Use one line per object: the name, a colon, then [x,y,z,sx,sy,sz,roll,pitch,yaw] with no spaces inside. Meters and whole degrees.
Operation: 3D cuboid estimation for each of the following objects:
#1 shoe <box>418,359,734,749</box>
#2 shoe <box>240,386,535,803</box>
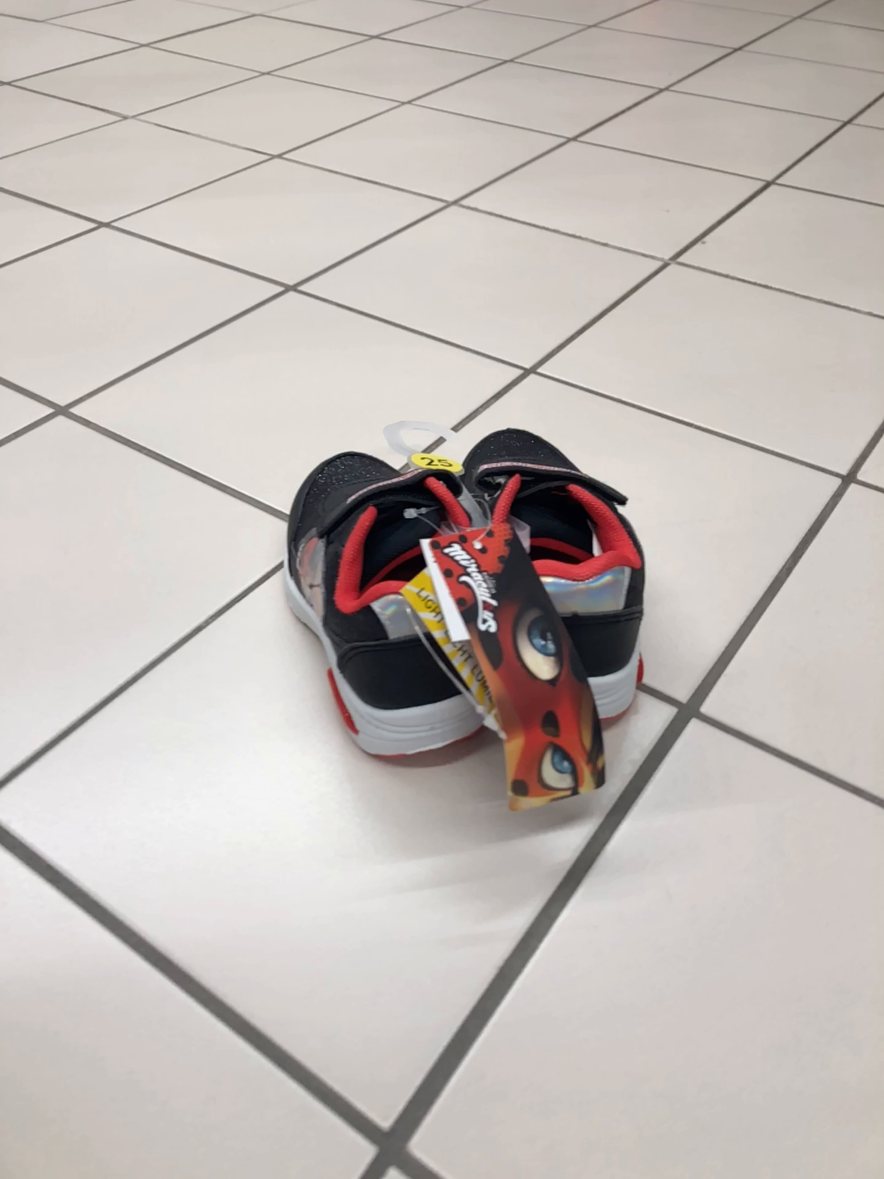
shoe: [0.046,-0.024,0.420,0.075,0.069,0.167,-10,42,-11]
shoe: [-0.029,-0.008,0.409,0.077,0.071,0.168,-12,43,-13]
